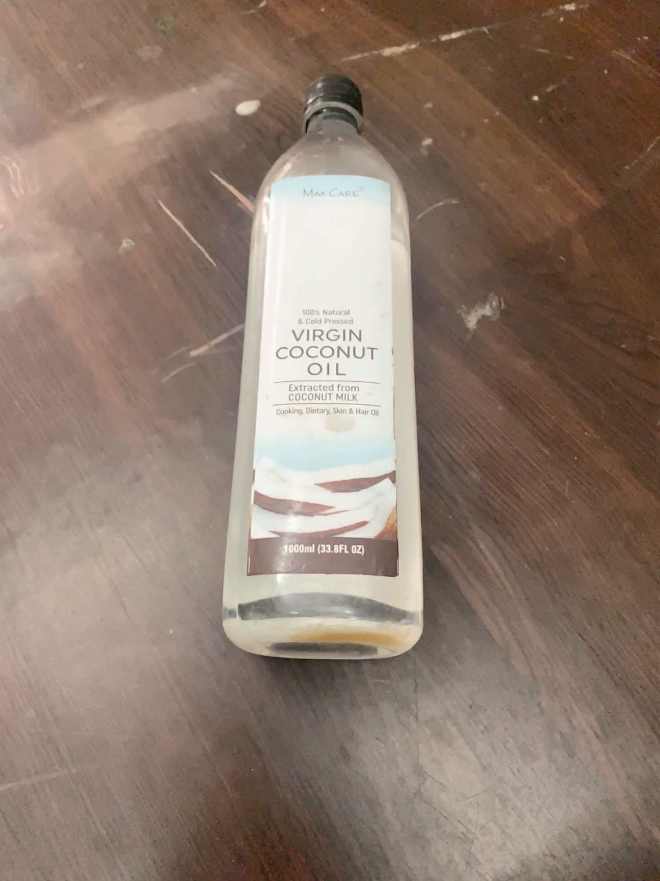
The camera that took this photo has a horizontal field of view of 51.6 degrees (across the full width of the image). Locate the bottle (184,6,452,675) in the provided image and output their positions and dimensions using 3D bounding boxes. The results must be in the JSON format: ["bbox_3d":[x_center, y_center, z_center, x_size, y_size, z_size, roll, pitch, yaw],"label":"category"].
[{"bbox_3d":[-0.002,-0.056,0.294,0.080,0.070,0.290,1,67,0],"label":"bottle"}]
